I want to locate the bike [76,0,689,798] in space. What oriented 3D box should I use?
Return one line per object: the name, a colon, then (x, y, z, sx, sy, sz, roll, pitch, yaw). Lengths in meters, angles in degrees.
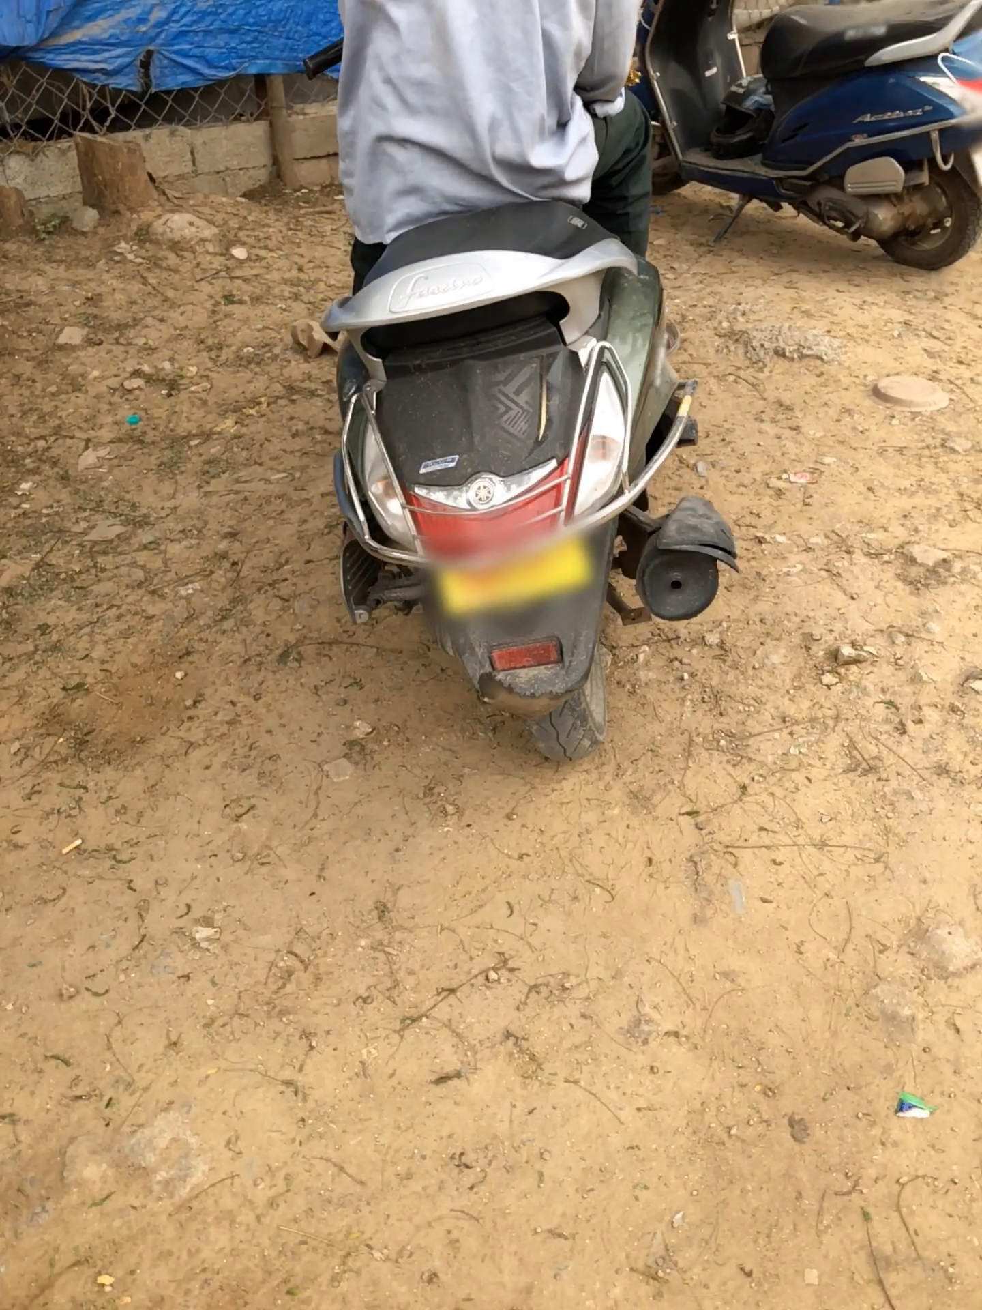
bike: (-0.095, -0.785, 2.037, 0.622, 1.054, 1.732, -1, 37, 2)
